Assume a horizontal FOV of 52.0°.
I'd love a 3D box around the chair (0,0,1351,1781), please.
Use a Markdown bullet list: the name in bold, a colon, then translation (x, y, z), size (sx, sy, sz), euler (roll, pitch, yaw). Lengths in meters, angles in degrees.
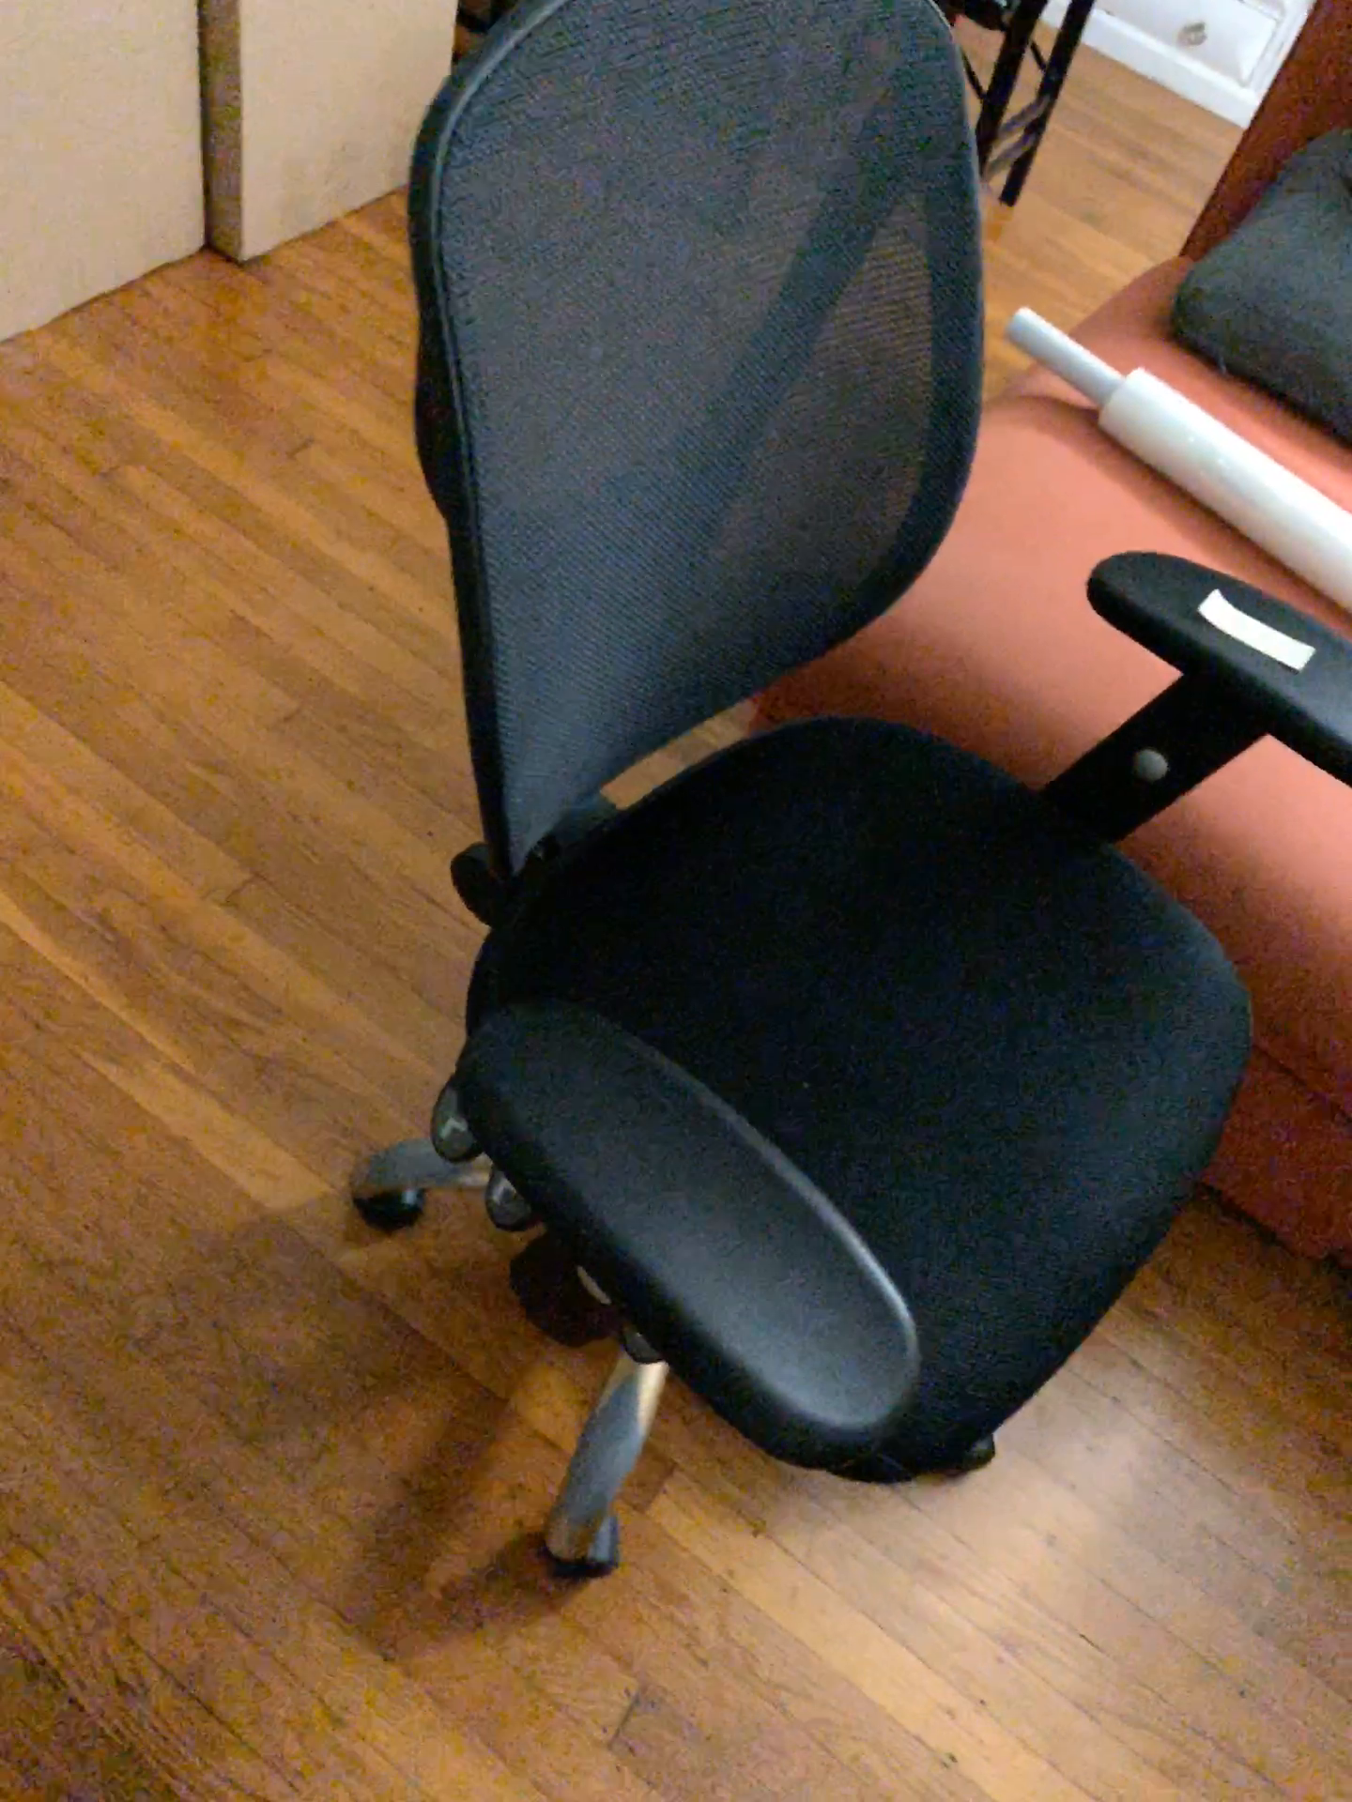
- **chair**: translation (0.112, -0.018, 0.932), size (0.661, 0.975, 0.642), euler (41, 54, 20)
